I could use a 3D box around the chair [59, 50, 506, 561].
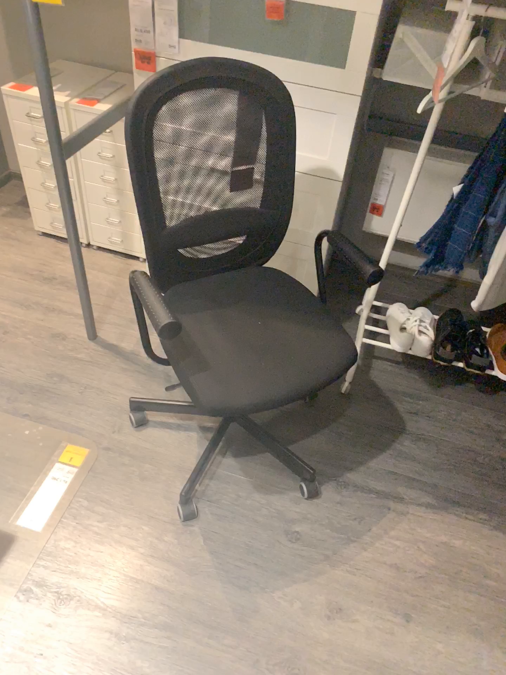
[{"bbox_3d":[-0.009,-0.078,1.317,0.641,0.976,0.682,-16,48,-22],"label":"chair"}]
